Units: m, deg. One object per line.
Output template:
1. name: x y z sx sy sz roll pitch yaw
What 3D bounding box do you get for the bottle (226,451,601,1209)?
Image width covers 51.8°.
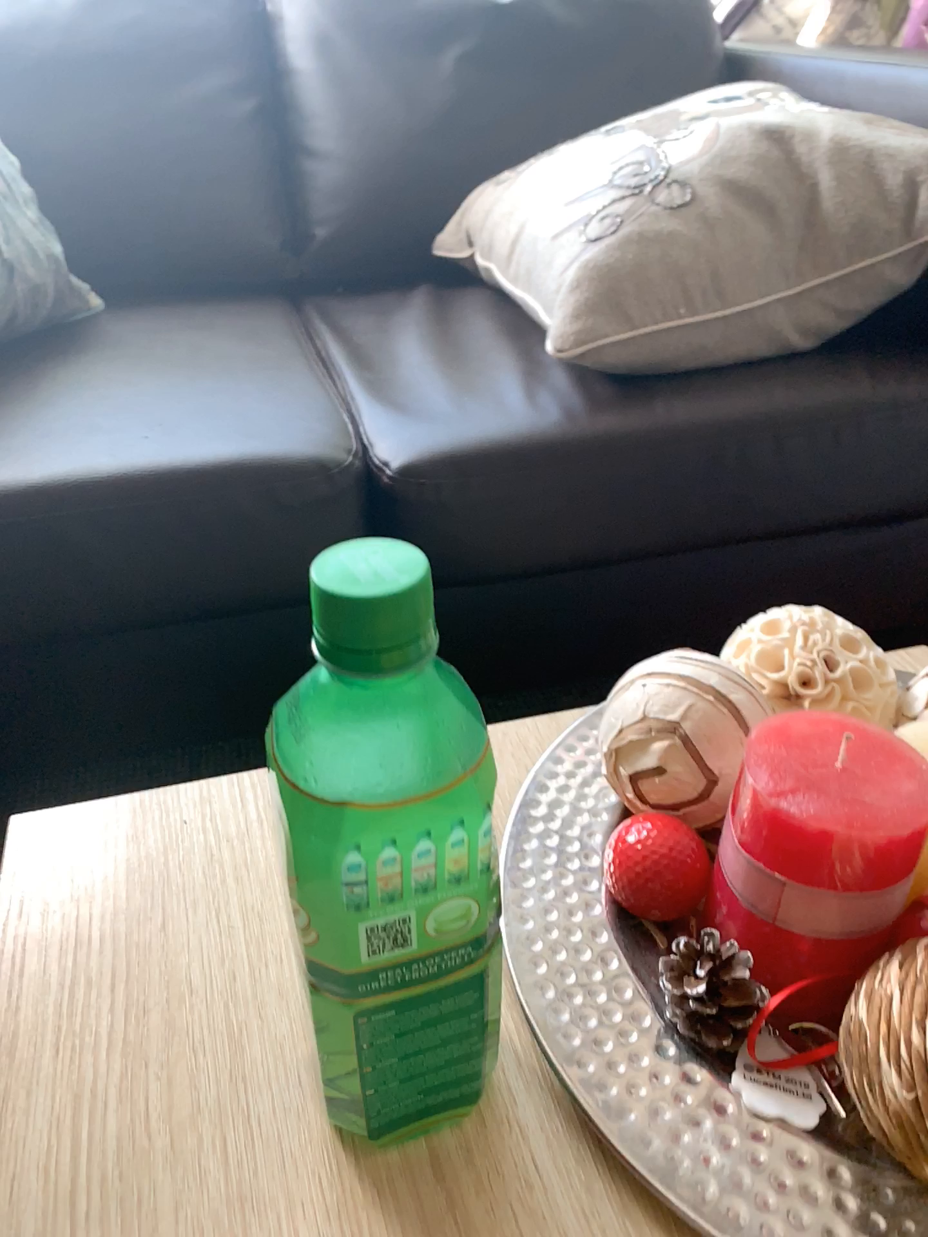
1. bottle: -0.016 0.070 0.282 0.070 0.218 0.071 1 33 0
